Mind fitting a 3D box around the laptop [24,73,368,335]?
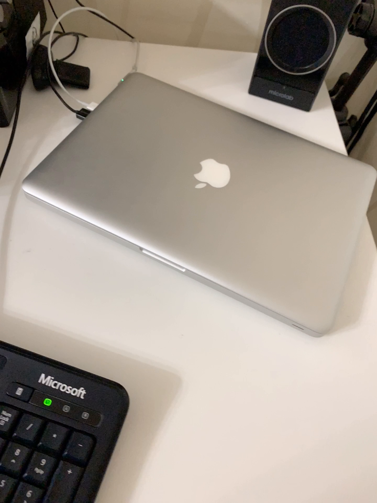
[{"bbox_3d":[0.023,-0.075,0.417,0.305,0.007,0.219,25,60,7],"label":"laptop"}]
